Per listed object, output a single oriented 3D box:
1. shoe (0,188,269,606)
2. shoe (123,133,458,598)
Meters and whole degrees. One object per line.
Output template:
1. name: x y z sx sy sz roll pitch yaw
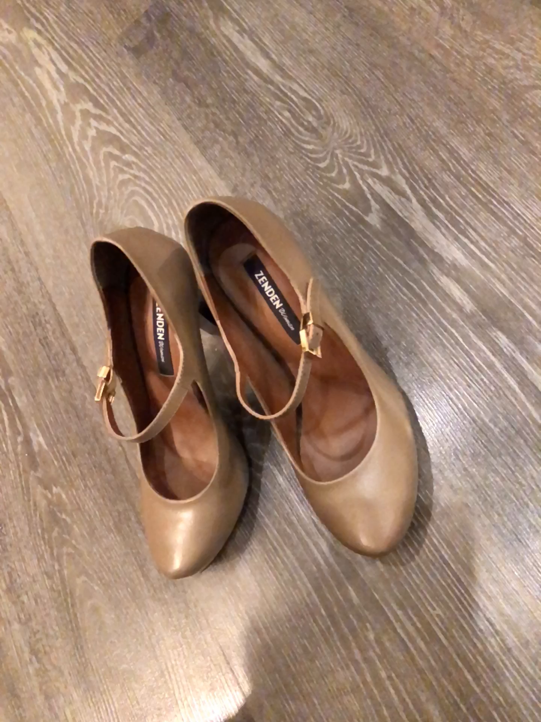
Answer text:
1. shoe: -0.079 0.030 0.392 0.090 0.150 0.220 -2 74 23
2. shoe: 0.017 0.012 0.354 0.090 0.160 0.211 -24 66 15
